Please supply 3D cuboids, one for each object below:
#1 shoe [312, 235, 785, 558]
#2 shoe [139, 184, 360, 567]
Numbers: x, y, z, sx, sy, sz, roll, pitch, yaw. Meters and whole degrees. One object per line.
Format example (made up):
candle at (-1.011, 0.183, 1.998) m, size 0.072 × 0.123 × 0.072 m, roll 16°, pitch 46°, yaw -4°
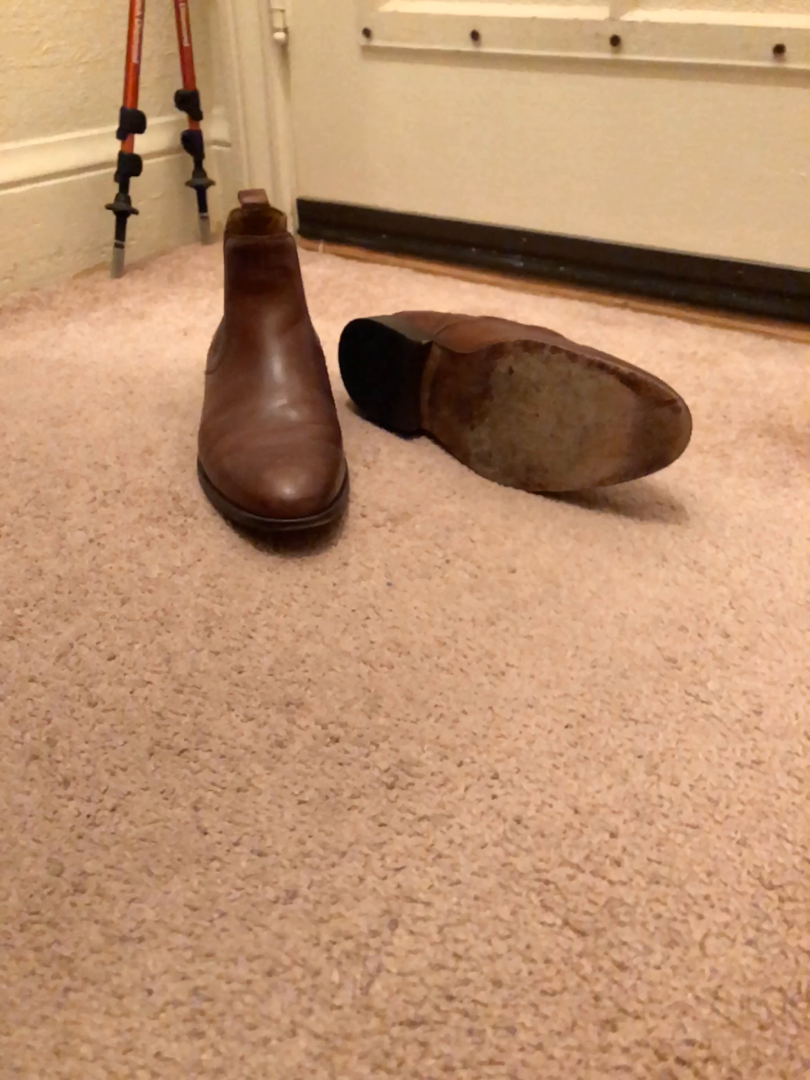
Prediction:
shoe at (0.096, -0.128, 0.681) m, size 0.297 × 0.118 × 0.170 m, roll 26°, pitch 41°, yaw 33°
shoe at (-0.103, -0.135, 0.636) m, size 0.109 × 0.158 × 0.298 m, roll -5°, pitch 34°, yaw -6°
